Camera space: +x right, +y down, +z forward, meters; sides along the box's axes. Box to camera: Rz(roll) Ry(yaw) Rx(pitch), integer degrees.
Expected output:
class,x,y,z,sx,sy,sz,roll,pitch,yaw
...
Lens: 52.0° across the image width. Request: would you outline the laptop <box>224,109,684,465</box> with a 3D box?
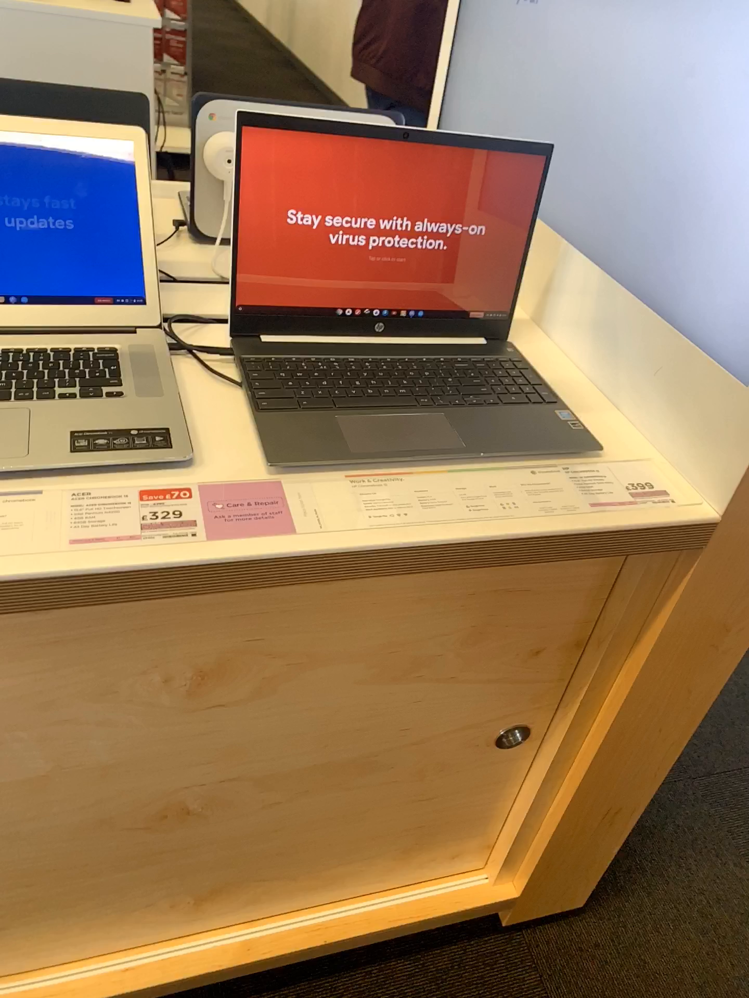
class,x,y,z,sx,sy,sz,roll,pitch,yaw
laptop,0.049,-0.216,0.775,0.351,0.228,0.265,-4,40,-19
